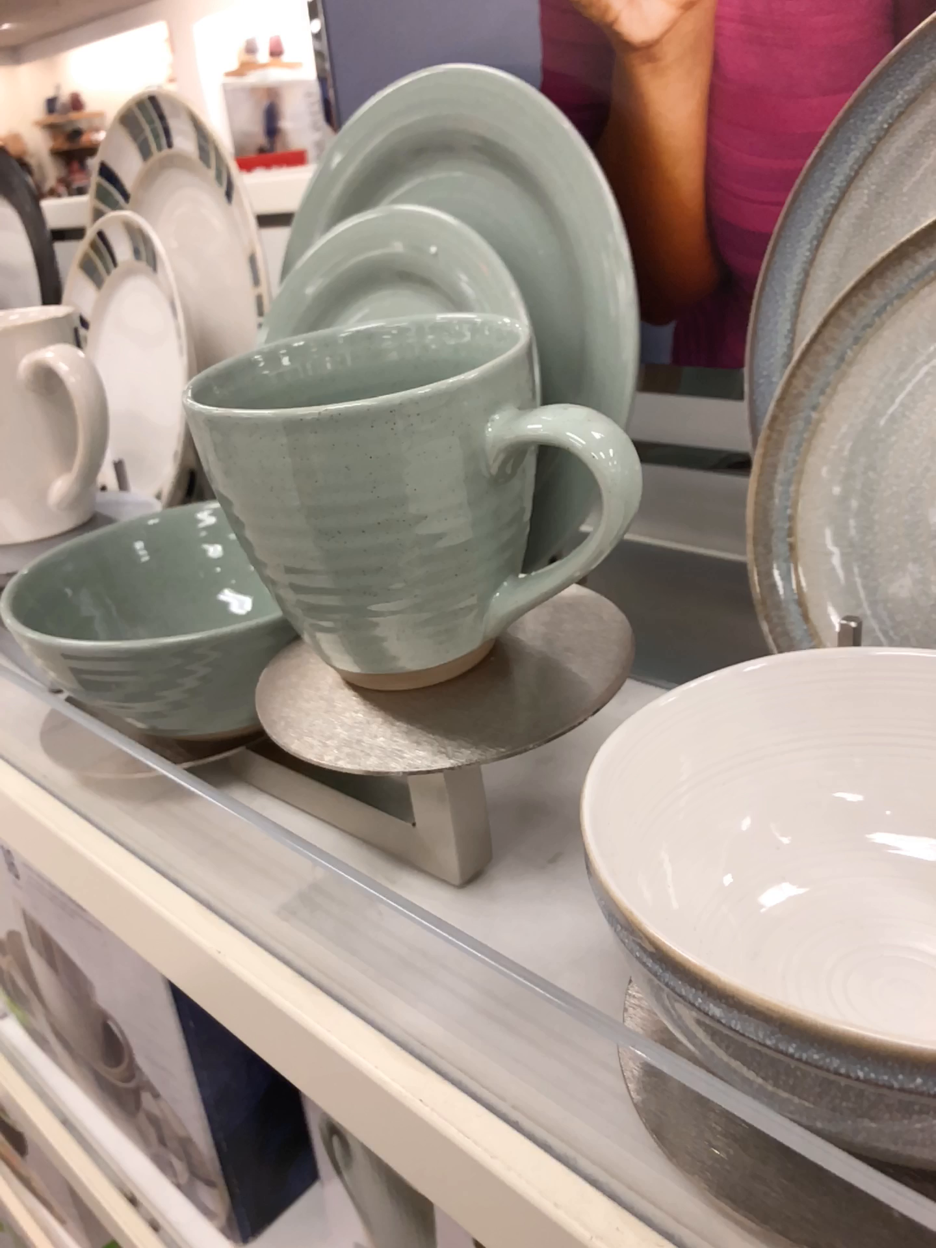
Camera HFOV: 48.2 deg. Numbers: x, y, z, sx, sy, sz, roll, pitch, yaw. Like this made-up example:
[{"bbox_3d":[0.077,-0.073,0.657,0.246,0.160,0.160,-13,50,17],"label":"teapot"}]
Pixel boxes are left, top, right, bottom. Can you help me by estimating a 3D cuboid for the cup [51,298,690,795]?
[{"bbox_3d":[-0.021,-0.035,0.306,0.129,0.091,0.116,10,32,33],"label":"cup"}]
